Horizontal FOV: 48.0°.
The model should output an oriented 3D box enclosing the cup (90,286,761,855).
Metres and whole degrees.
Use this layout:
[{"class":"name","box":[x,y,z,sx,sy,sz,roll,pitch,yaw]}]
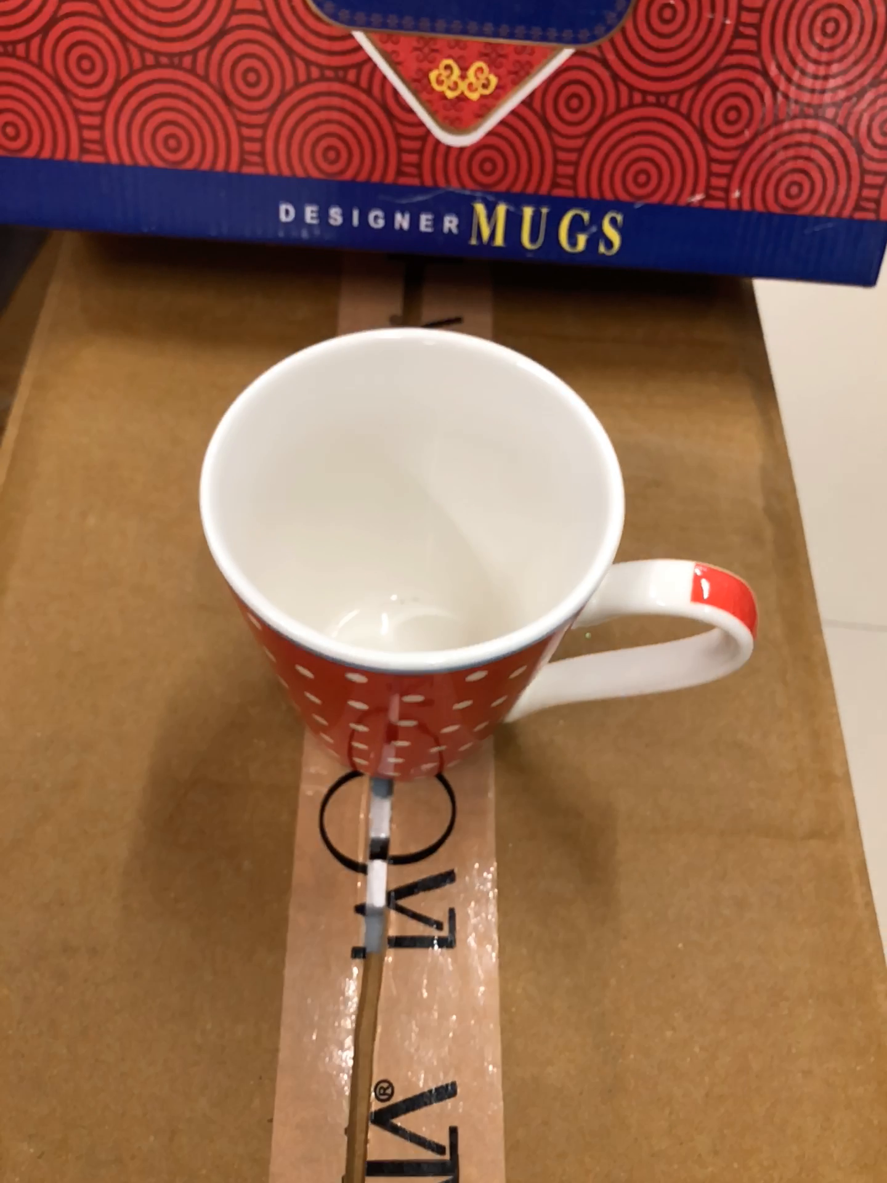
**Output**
[{"class":"cup","box":[0.000,0.000,0.235,0.120,0.089,0.080,10,59,1]}]
